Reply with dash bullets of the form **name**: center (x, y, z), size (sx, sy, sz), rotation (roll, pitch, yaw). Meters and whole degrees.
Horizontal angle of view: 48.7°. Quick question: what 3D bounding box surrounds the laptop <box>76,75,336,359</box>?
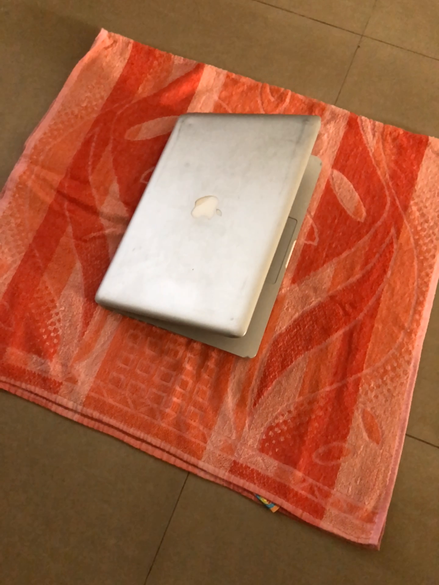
- **laptop**: center (-0.007, -0.104, 0.631), size (0.223, 0.087, 0.311), rotation (19, 72, 6)
